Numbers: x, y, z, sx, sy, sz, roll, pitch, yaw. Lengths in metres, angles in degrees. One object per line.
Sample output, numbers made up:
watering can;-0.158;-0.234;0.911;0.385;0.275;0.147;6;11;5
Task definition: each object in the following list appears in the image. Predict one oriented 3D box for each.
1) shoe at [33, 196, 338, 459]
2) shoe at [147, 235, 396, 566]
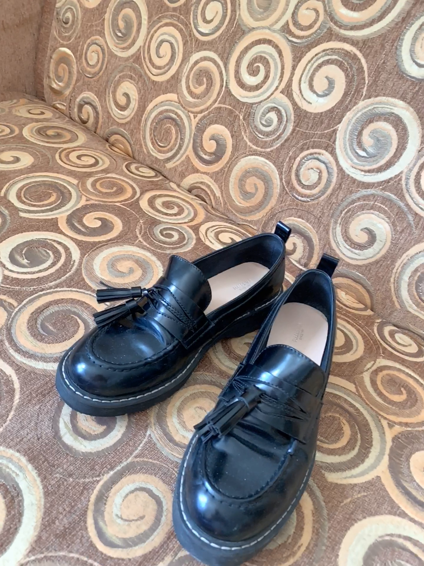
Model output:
shoe;-0.012;0.024;0.380;0.241;0.100;0.090;-28;56;-33
shoe;0.056;0.081;0.328;0.090;0.100;0.241;24;46;13
